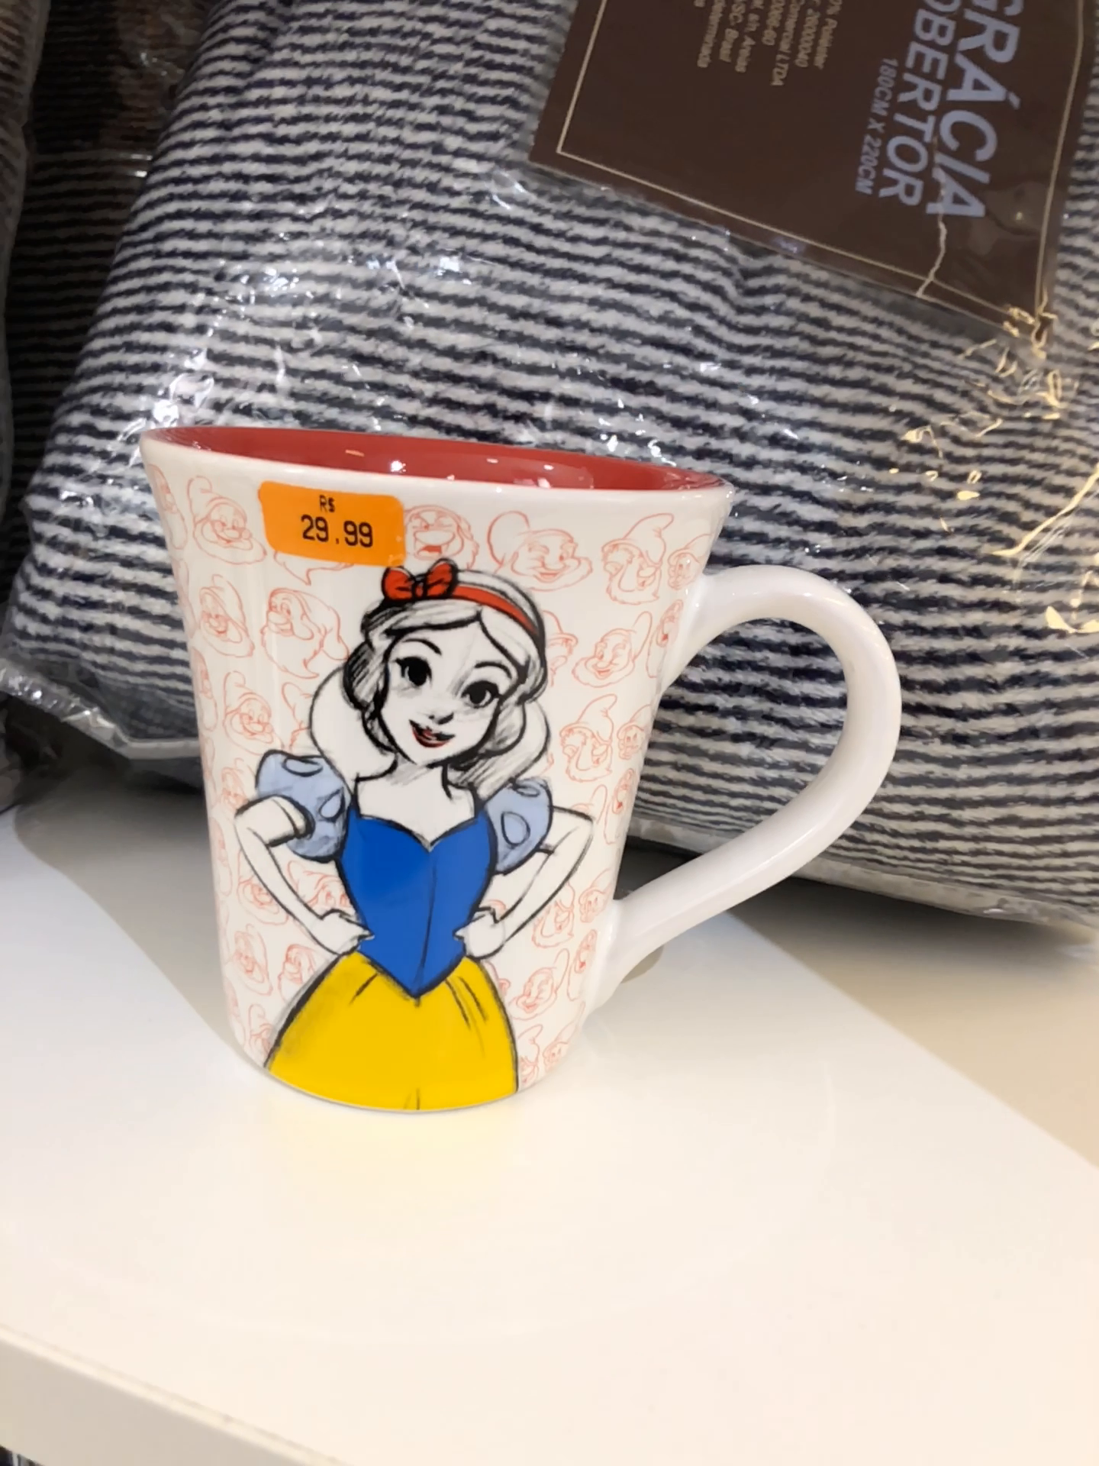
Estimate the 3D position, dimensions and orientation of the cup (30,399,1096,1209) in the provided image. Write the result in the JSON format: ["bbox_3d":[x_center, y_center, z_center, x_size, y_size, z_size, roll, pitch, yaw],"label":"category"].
[{"bbox_3d":[0.000,0.000,0.193,0.120,0.090,0.090,6,16,2],"label":"cup"}]

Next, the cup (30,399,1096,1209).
[{"bbox_3d":[0.000,0.000,0.193,0.120,0.090,0.090,6,16,2],"label":"cup"}]
